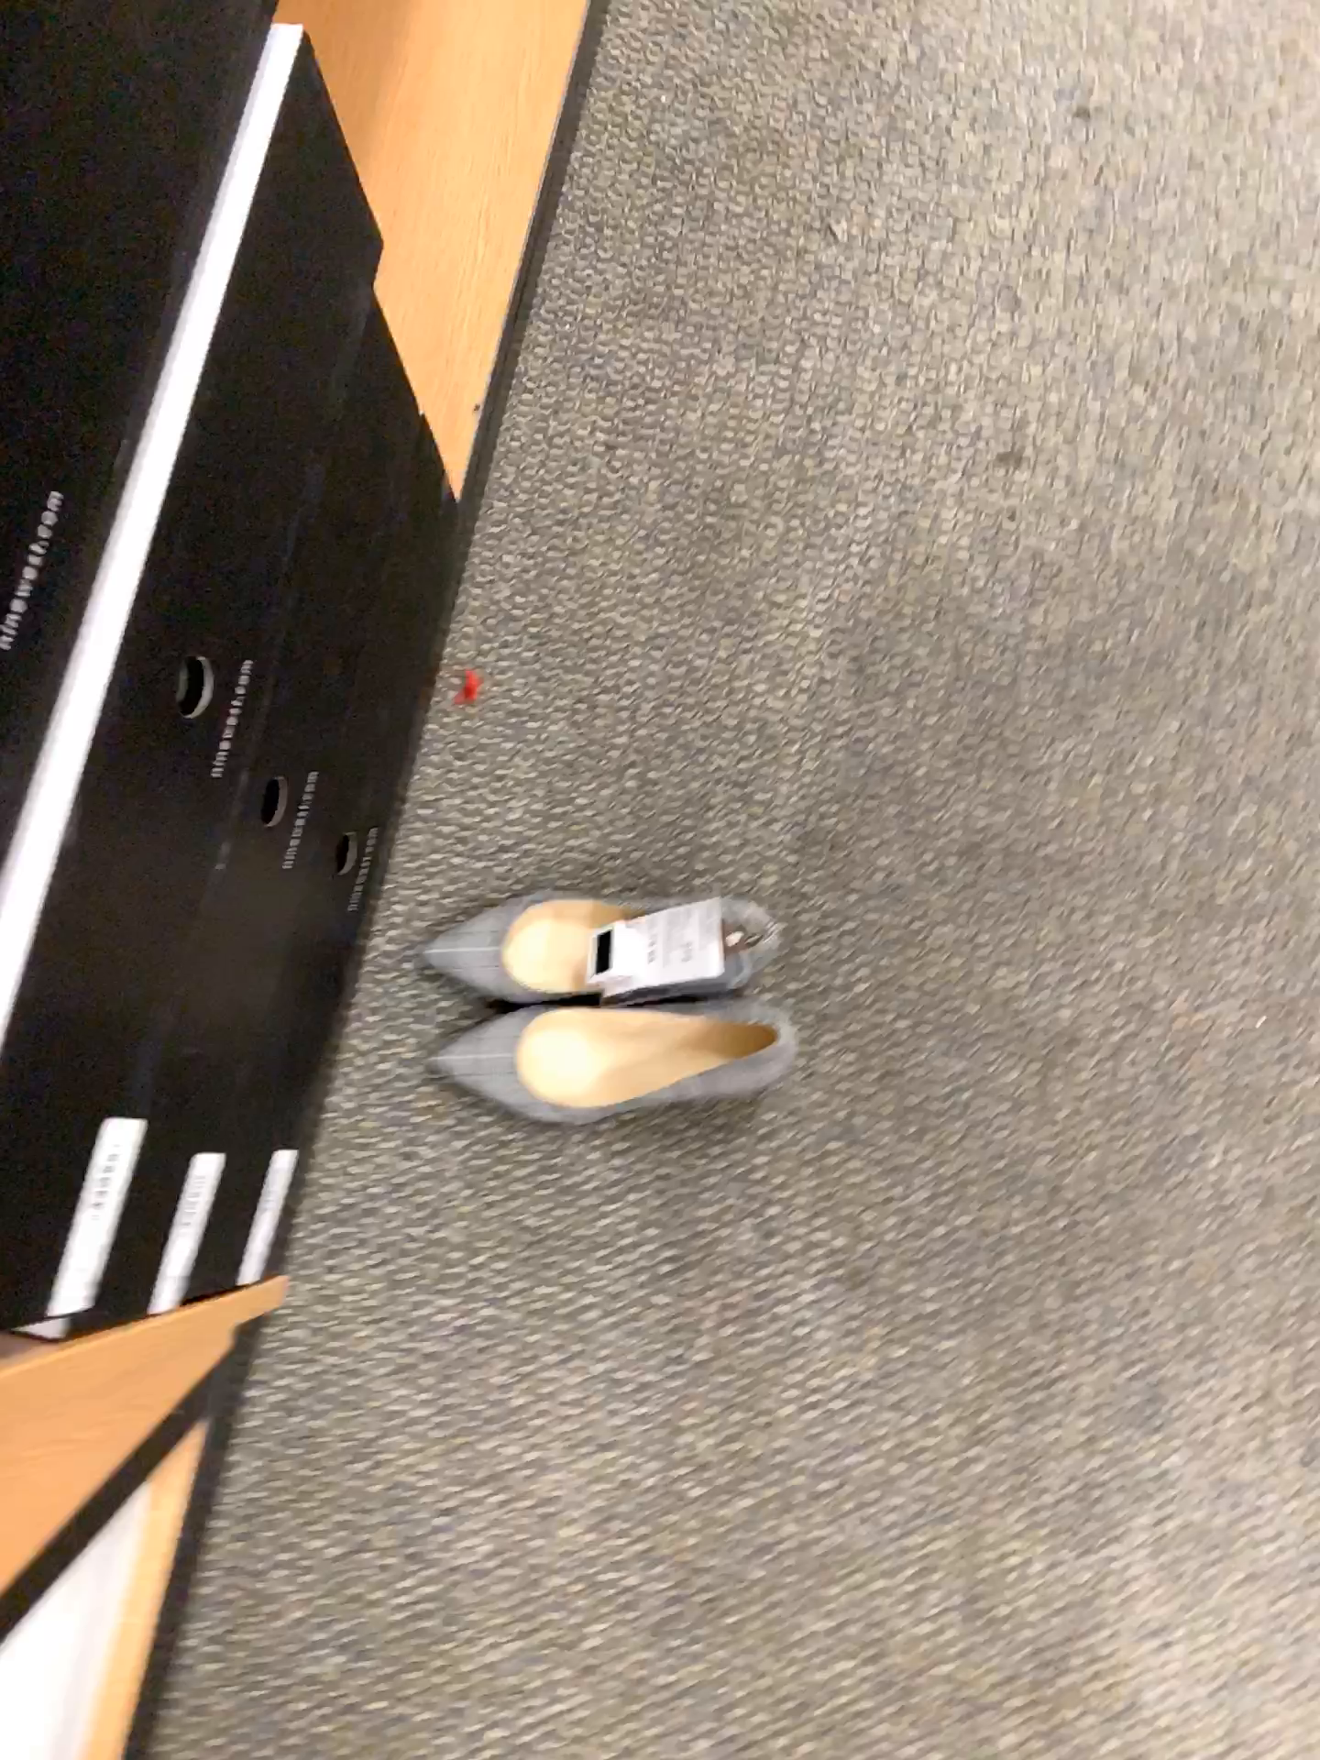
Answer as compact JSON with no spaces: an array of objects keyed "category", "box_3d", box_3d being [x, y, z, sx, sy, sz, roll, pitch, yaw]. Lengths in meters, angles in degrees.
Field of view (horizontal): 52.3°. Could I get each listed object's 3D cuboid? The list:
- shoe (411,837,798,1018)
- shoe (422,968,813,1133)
[{"category":"shoe","box_3d":[-0.034,0.036,0.880,0.230,0.150,0.090,-1,78,0]},{"category":"shoe","box_3d":[-0.026,0.115,0.873,0.230,0.150,0.090,-1,78,0]}]
